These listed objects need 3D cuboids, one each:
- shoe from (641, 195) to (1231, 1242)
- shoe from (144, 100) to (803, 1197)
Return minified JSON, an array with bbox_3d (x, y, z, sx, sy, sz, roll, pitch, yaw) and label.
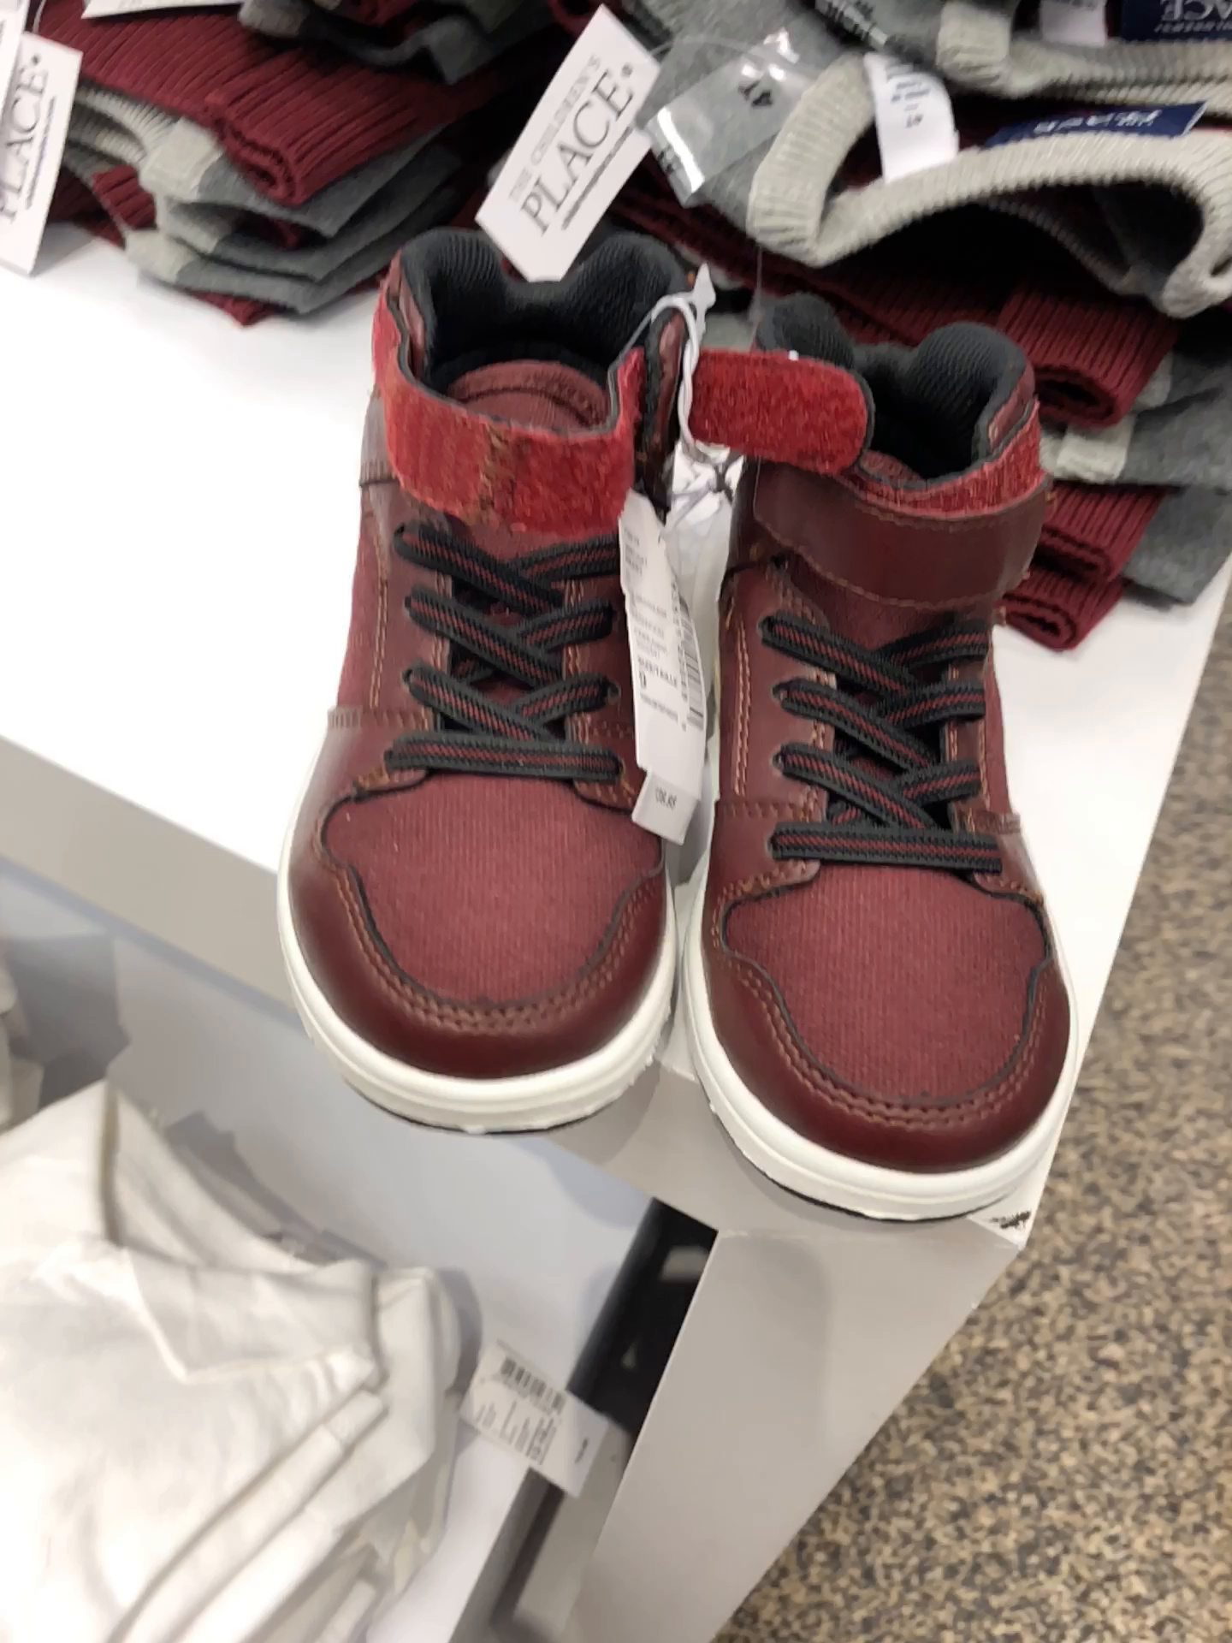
[{"bbox_3d":[0.053,-0.027,0.269,0.080,0.100,0.181,4,49,-6],"label":"shoe"},{"bbox_3d":[-0.021,-0.034,0.237,0.070,0.100,0.161,4,49,-6],"label":"shoe"}]
